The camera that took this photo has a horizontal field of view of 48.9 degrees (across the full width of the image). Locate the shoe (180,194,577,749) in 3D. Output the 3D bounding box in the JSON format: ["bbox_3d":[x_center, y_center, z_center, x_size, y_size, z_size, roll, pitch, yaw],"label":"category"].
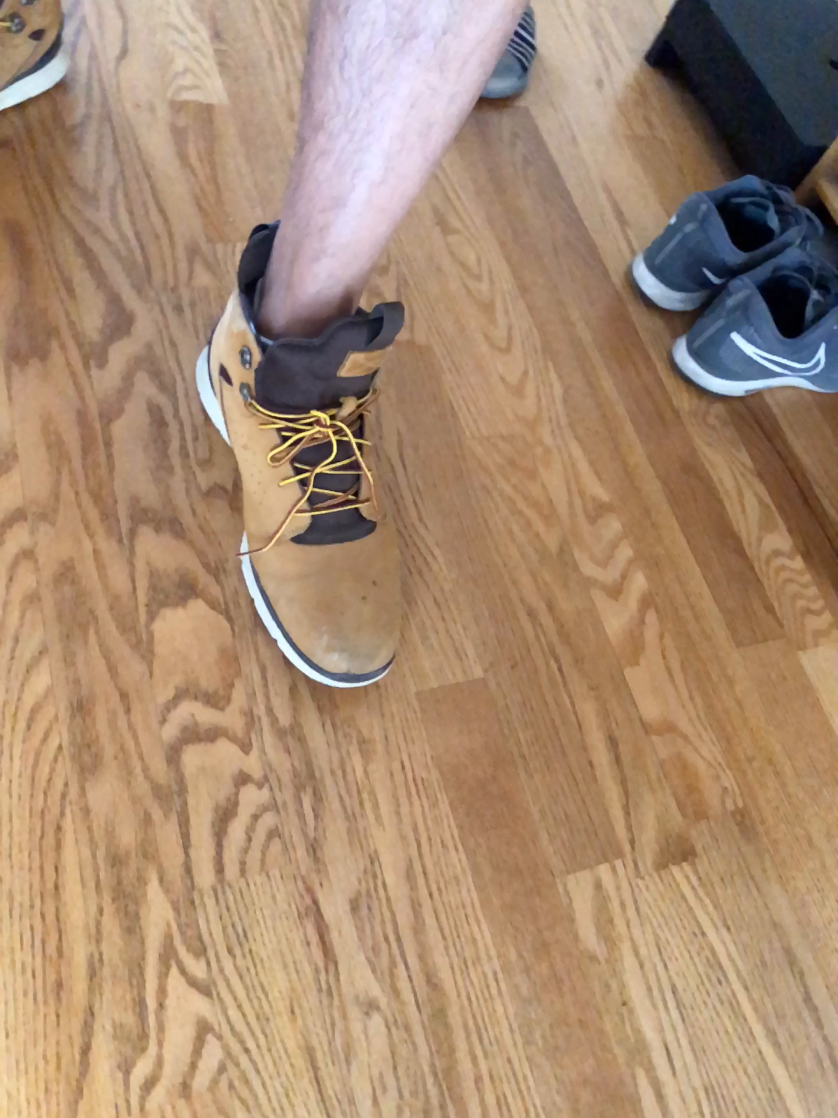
[{"bbox_3d":[-0.045,-0.063,0.586,0.130,0.139,0.311,-9,66,-26],"label":"shoe"}]

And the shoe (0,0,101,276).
[{"bbox_3d":[-0.367,-0.395,0.671,0.130,0.159,0.331,22,56,-9],"label":"shoe"}]

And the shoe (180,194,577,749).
[{"bbox_3d":[-0.045,-0.063,0.586,0.130,0.139,0.311,-9,66,-26],"label":"shoe"}]
